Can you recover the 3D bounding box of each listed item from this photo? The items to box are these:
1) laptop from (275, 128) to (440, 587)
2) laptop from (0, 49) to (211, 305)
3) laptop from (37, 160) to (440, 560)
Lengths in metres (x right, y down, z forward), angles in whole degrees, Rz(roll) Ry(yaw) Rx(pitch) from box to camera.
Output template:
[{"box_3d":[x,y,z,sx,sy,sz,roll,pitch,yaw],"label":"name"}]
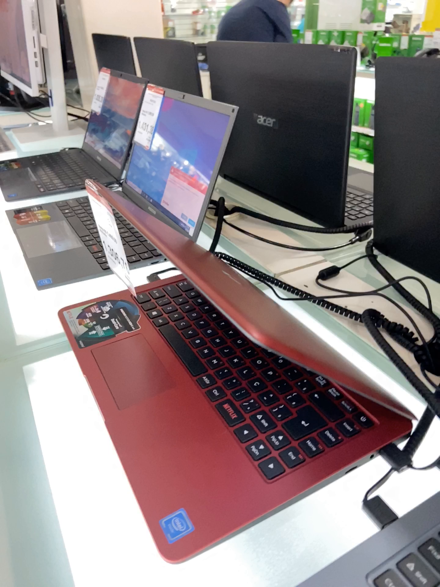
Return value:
[{"box_3d":[0.223,0.143,0.096,0.277,0.207,0.386,-21,37,-25],"label":"laptop"},{"box_3d":[-0.174,-0.200,0.656,0.286,0.159,0.235,-26,49,-31],"label":"laptop"},{"box_3d":[-0.013,0.002,0.408,0.212,0.144,0.322,-17,33,-24],"label":"laptop"}]
